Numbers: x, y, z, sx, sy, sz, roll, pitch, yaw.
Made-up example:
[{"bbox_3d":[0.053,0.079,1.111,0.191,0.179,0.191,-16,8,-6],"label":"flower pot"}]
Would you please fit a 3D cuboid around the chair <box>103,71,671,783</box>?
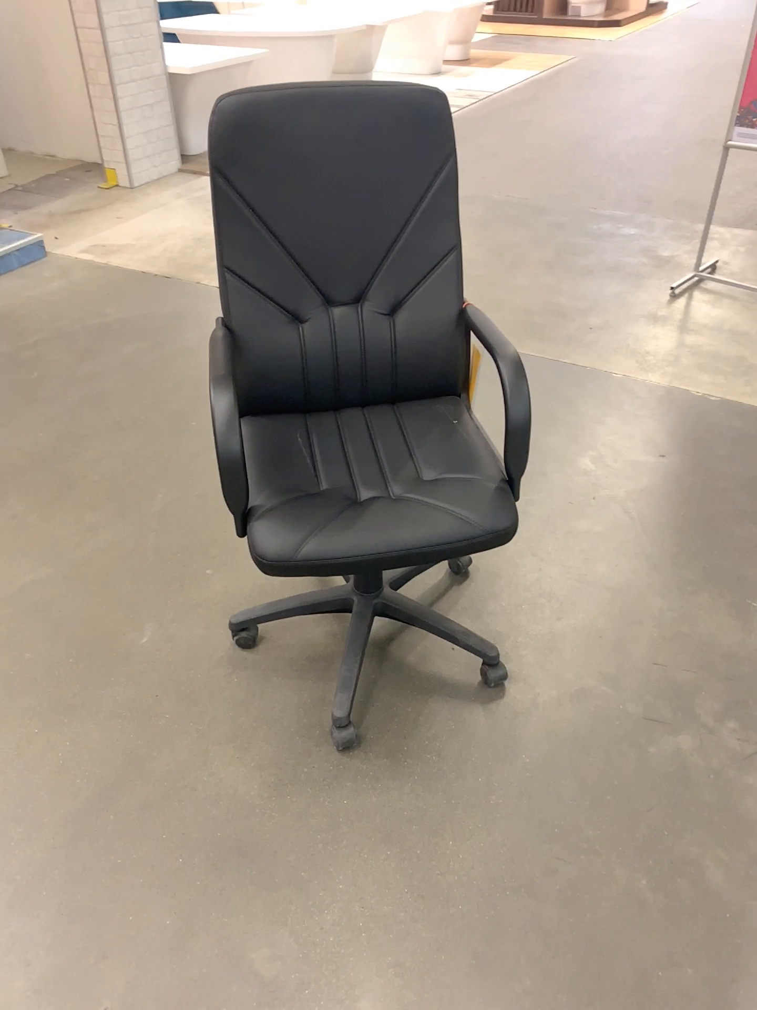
[{"bbox_3d":[-0.044,-0.175,1.537,0.670,1.085,0.814,-7,37,-8],"label":"chair"}]
